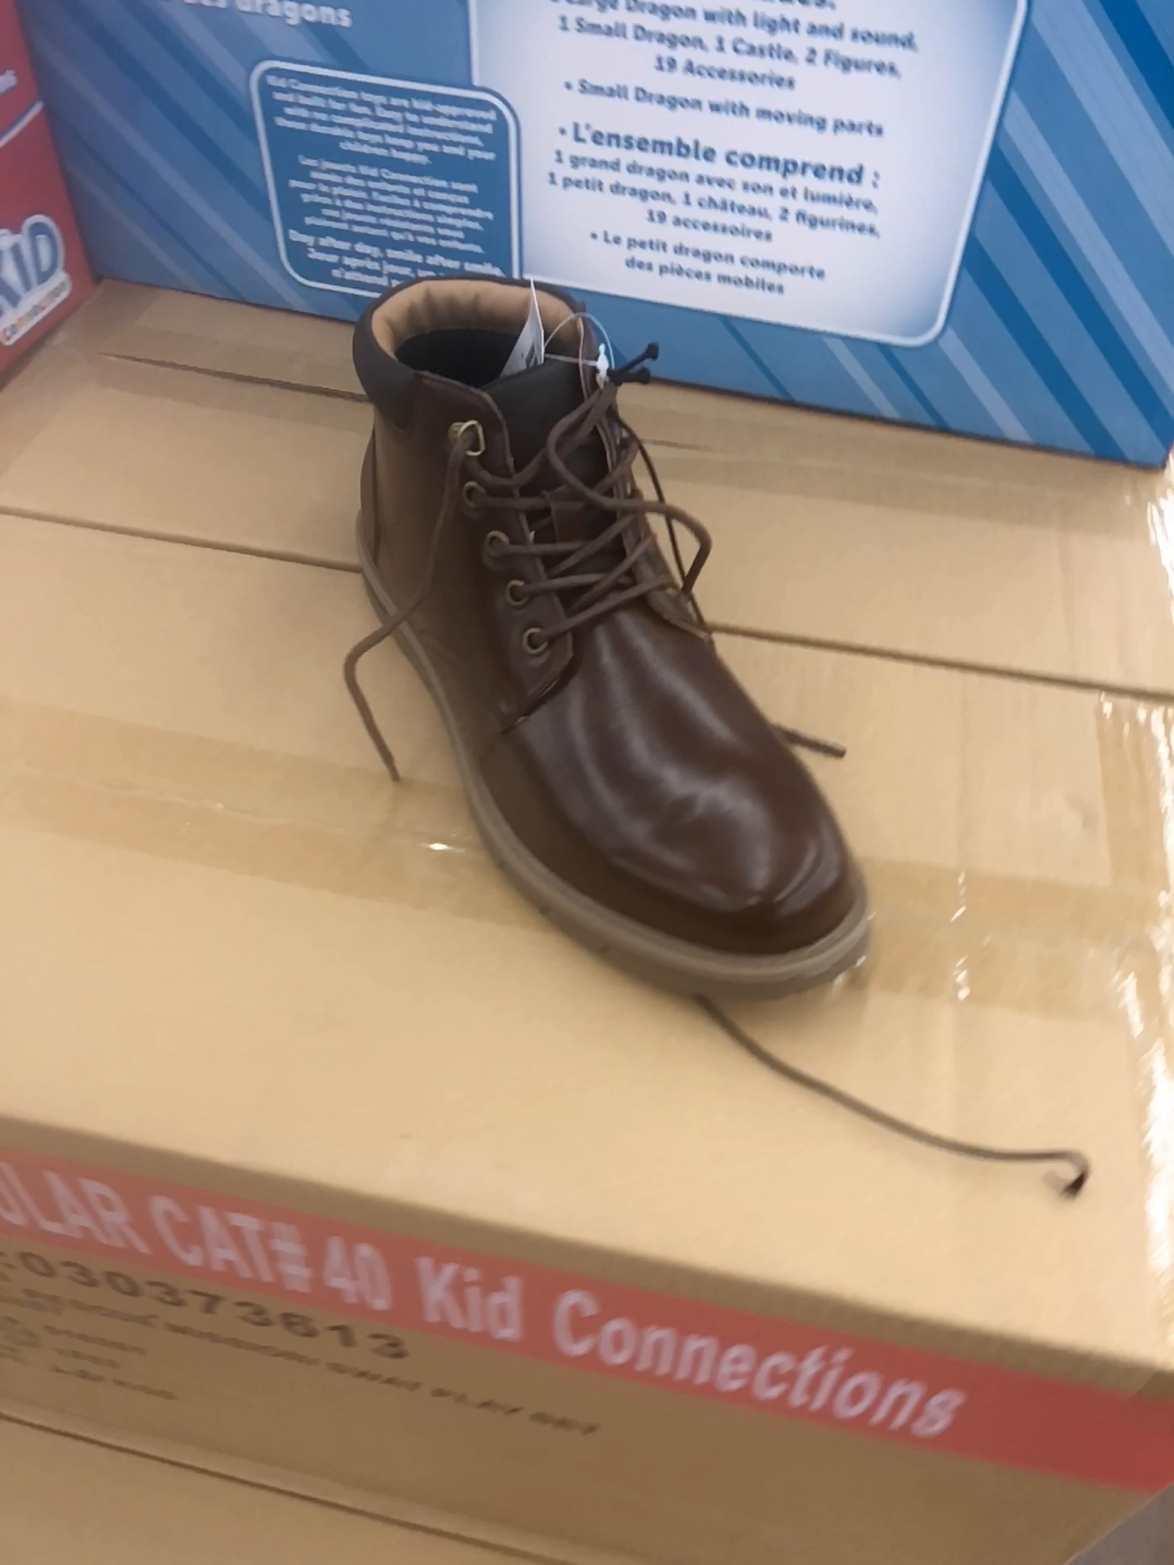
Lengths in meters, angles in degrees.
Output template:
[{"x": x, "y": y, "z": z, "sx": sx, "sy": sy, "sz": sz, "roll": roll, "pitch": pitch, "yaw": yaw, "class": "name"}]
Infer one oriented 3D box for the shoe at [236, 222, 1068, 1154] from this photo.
[{"x": -0.002, "y": -0.050, "z": 0.461, "sx": 0.120, "sy": 0.159, "sz": 0.291, "roll": -23, "pitch": 52, "yaw": -21, "class": "shoe"}]
